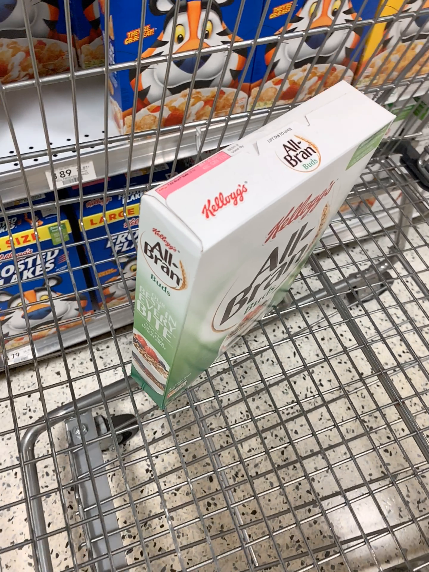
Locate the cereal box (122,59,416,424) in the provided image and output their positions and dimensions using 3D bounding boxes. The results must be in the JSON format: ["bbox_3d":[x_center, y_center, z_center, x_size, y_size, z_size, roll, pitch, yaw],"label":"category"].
[{"bbox_3d":[0.018,-0.008,0.372,0.050,0.298,0.201,44,61,15],"label":"cereal box"}]
